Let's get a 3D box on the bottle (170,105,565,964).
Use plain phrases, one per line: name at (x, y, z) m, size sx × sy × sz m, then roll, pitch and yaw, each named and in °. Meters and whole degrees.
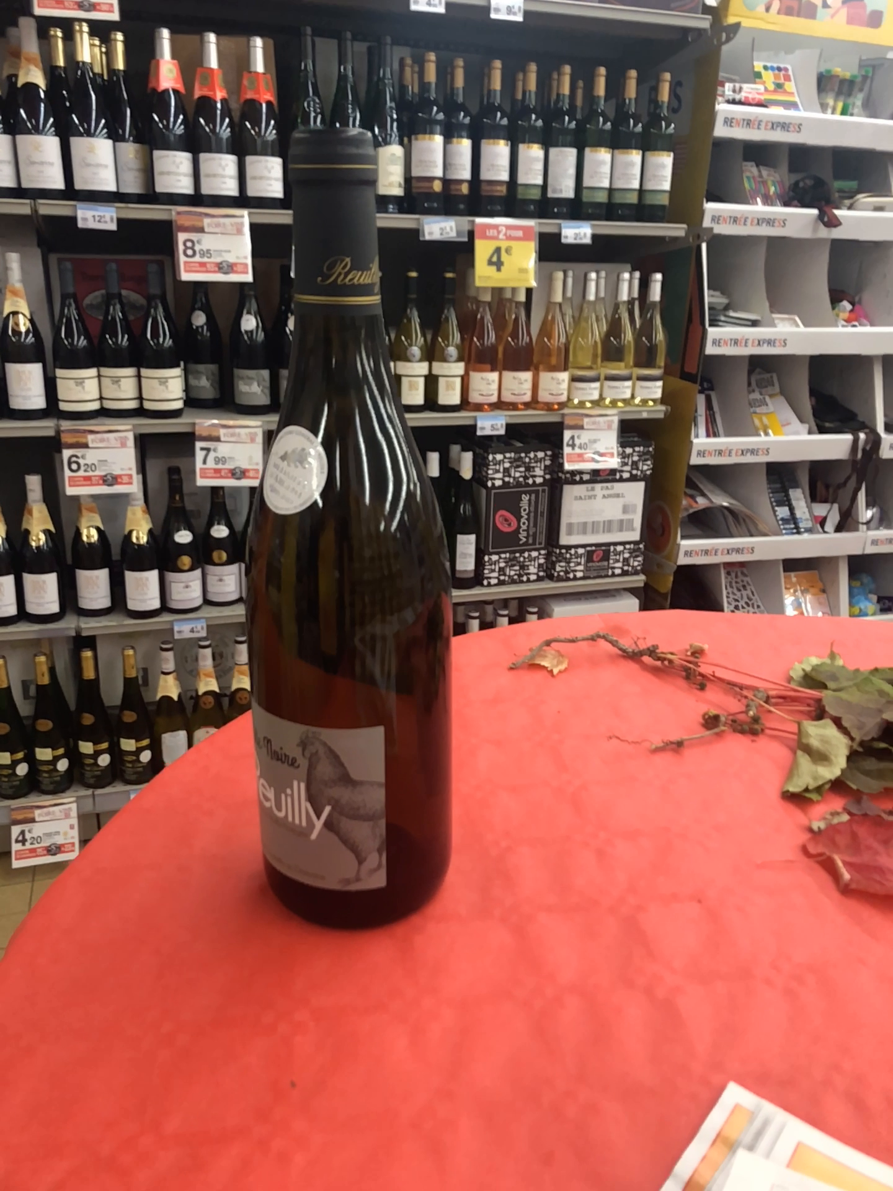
bottle at (-0.029, -0.021, 0.364) m, size 0.090 × 0.279 × 0.090 m, roll 2°, pitch 20°, yaw -1°
